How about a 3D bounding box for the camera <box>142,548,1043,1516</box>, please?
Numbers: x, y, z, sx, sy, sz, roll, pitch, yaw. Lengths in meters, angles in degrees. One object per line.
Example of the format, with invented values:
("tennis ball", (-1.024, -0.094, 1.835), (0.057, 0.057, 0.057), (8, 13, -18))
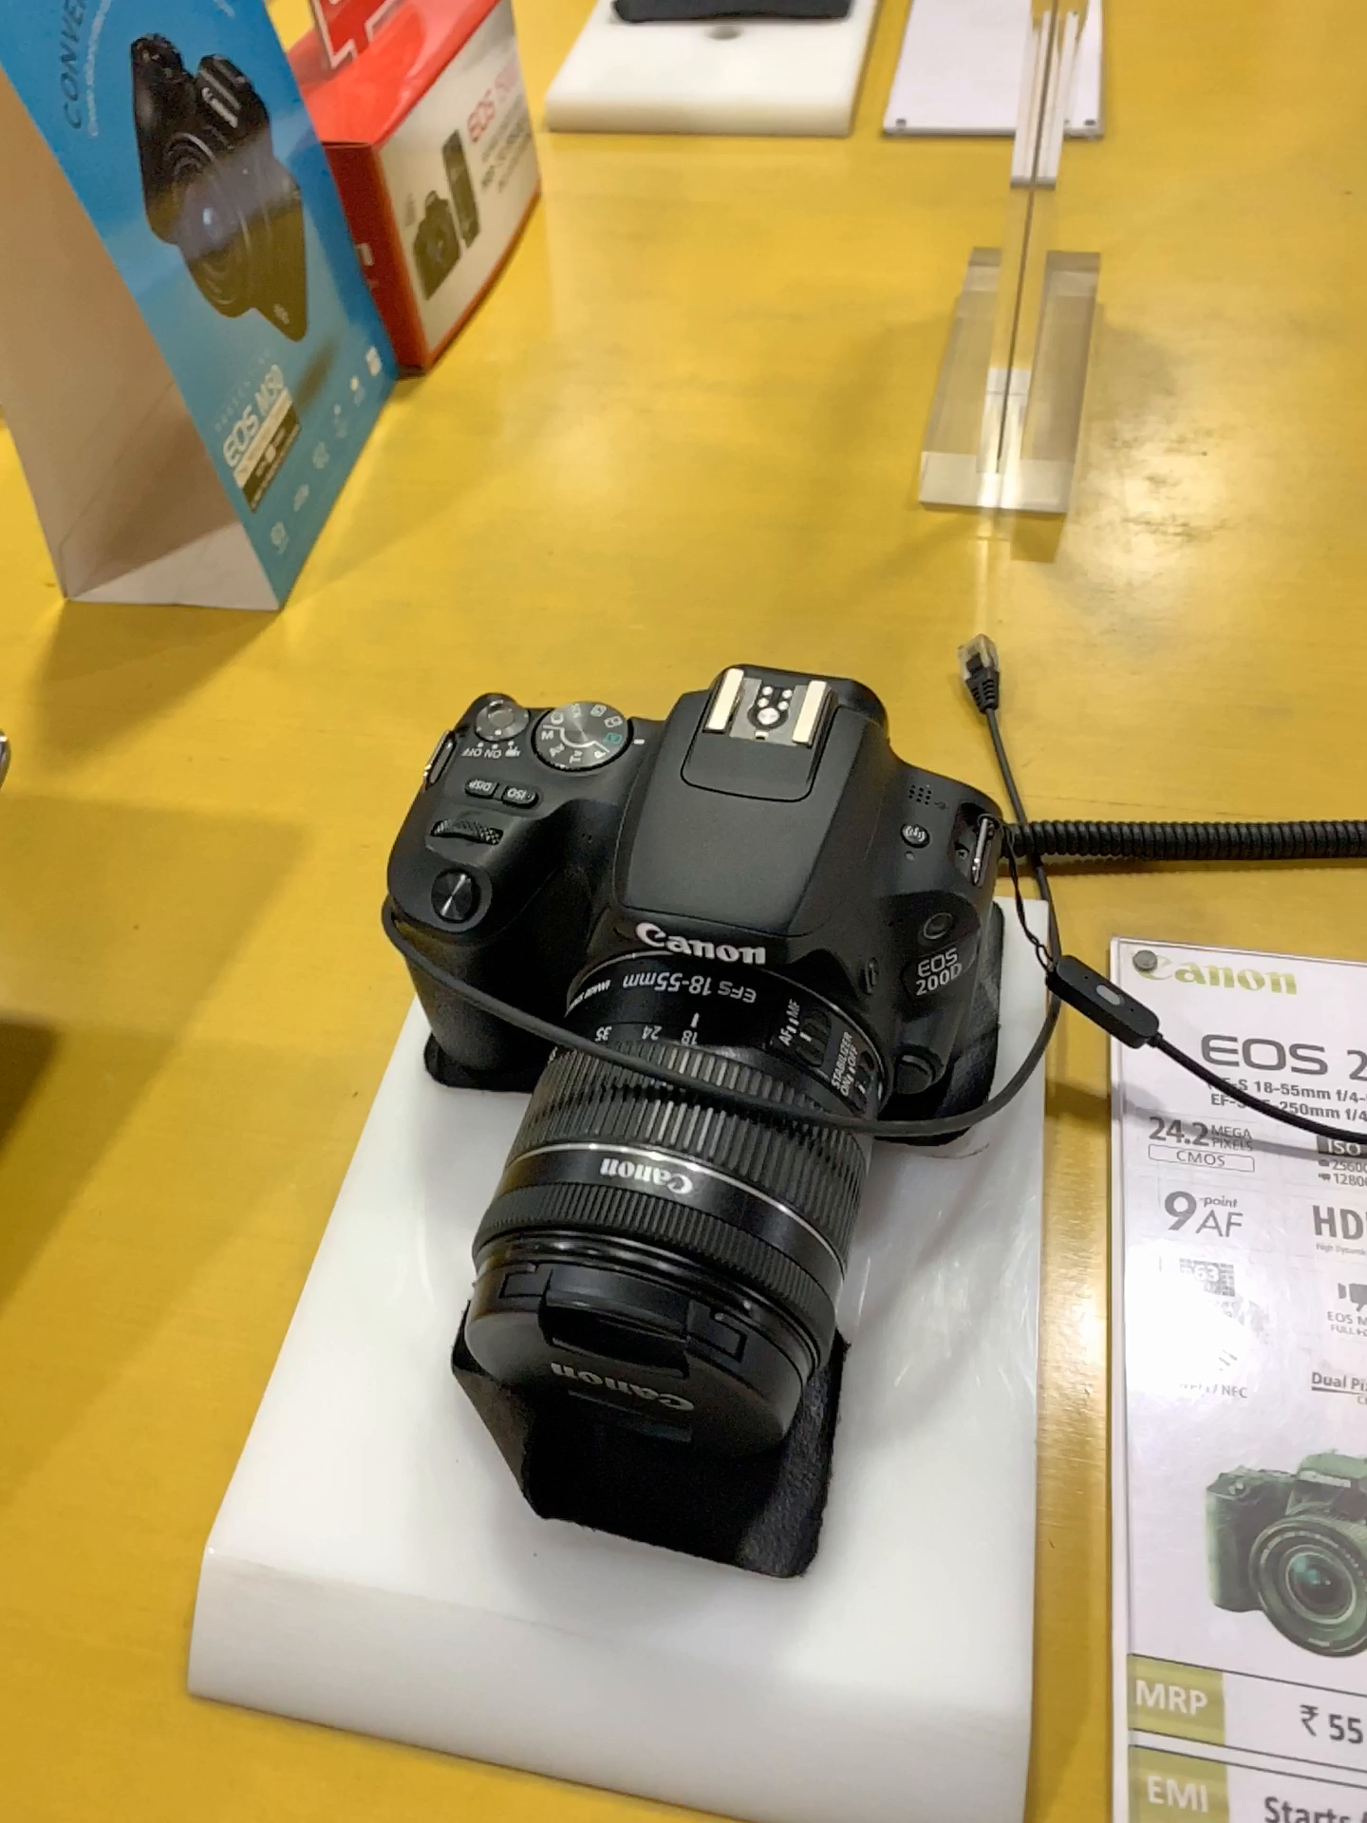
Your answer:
("camera", (-0.002, 0.012, 0.275), (0.120, 0.070, 0.160), (8, 51, 11))
